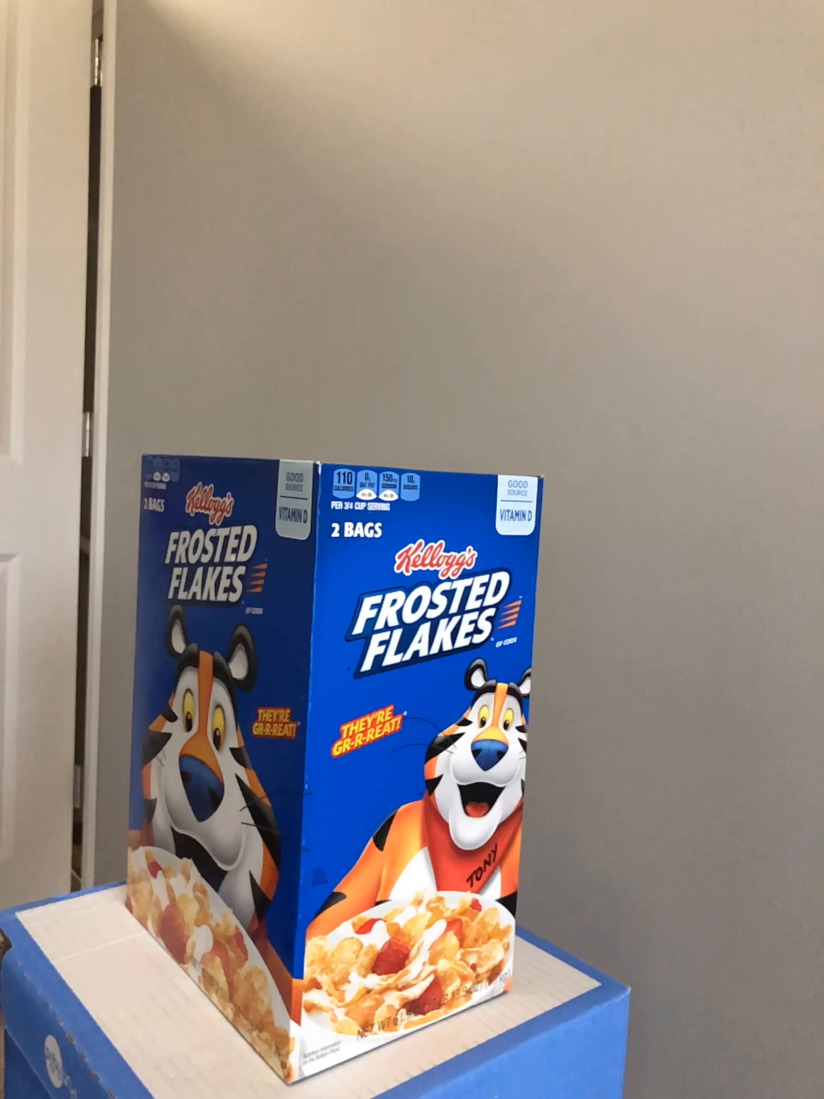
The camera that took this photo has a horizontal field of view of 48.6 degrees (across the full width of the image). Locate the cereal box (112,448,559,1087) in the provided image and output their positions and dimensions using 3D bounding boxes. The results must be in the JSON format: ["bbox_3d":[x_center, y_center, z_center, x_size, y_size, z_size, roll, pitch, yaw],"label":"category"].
[{"bbox_3d":[-0.066,0.099,0.603,0.170,0.320,0.260,0,5,-36],"label":"cereal box"}]
